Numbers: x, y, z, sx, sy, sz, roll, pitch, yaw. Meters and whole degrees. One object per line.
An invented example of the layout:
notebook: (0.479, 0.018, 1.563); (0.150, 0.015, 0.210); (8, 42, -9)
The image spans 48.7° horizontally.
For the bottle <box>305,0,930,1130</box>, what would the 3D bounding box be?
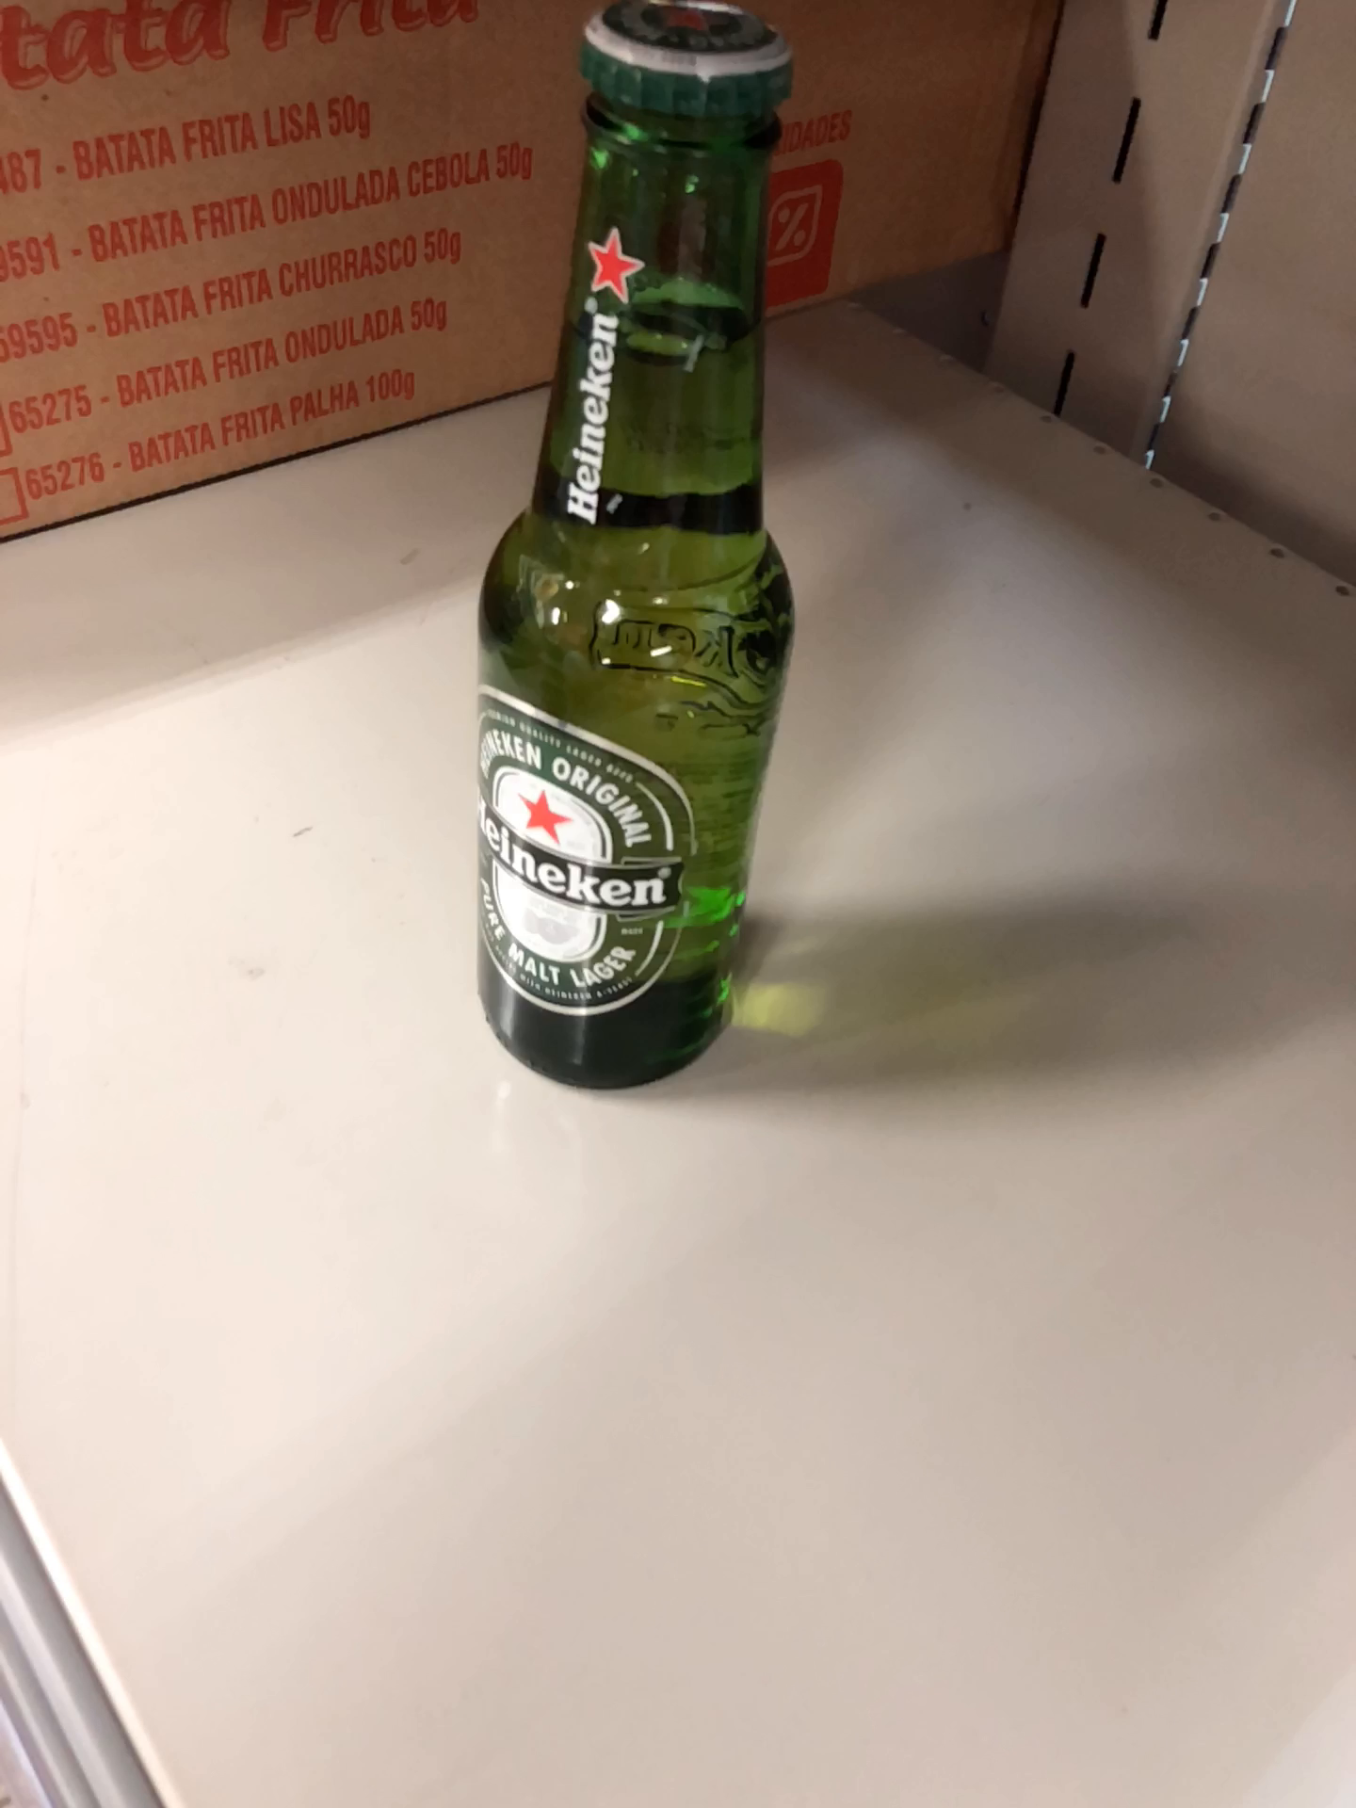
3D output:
bottle: (-0.009, -0.050, 0.264); (0.060, 0.199, 0.060); (2, 47, -2)
